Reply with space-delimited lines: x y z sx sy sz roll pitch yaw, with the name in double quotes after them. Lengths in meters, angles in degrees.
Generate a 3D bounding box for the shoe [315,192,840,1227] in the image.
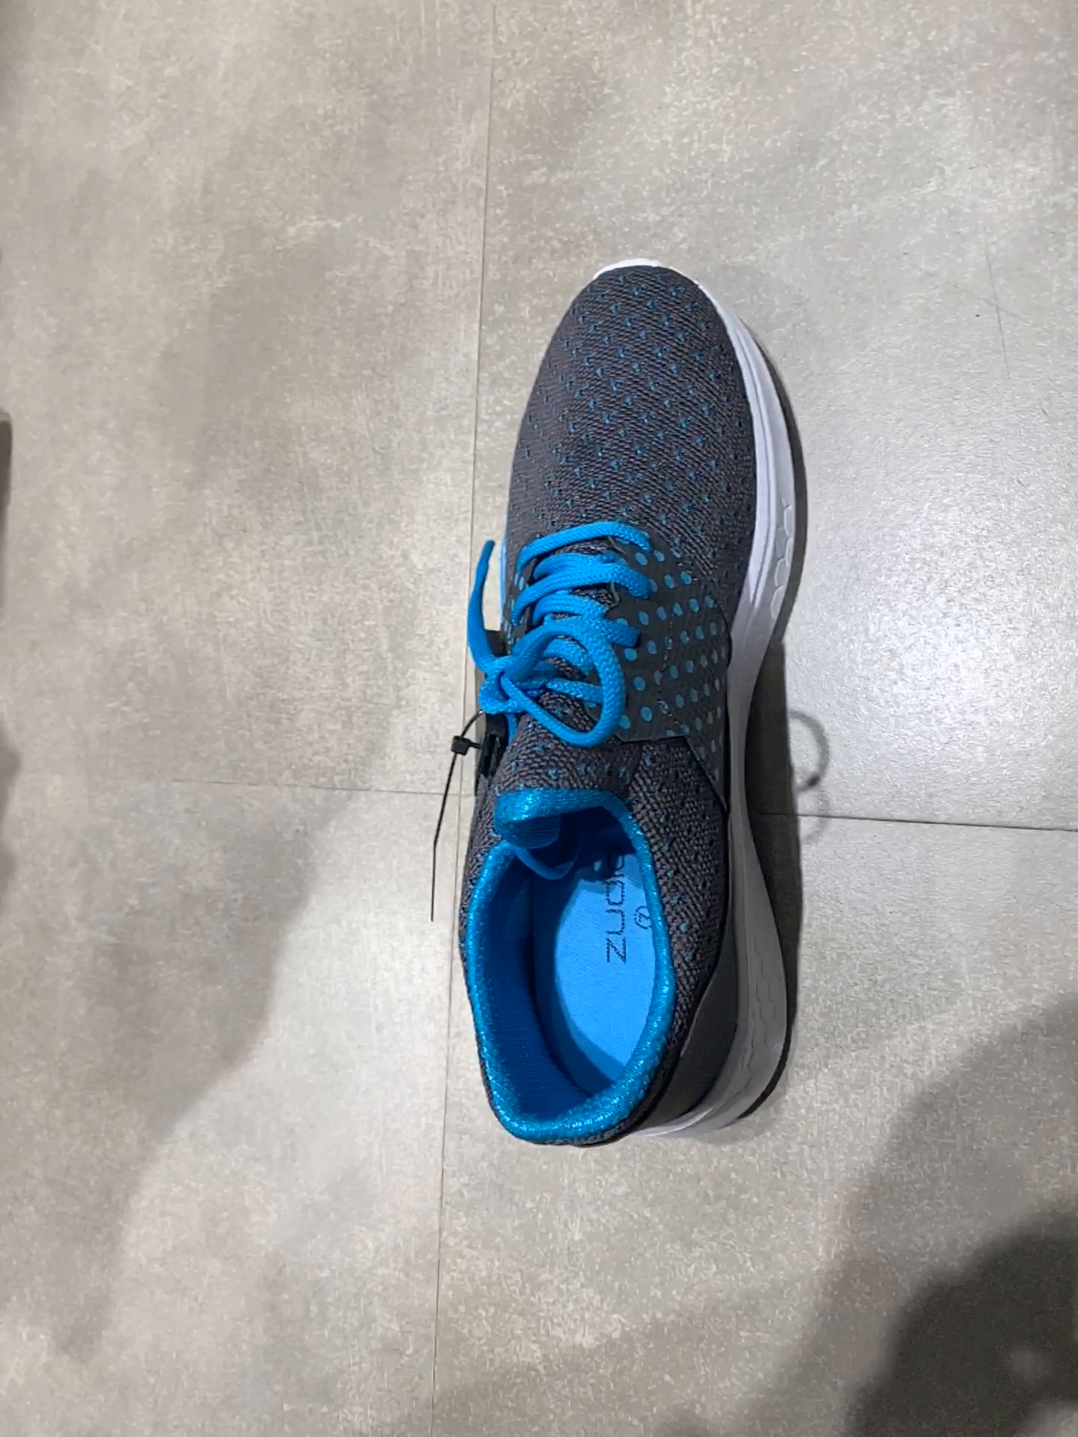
0.013 0.001 0.310 0.103 0.102 0.227 -6 83 27 "shoe"
